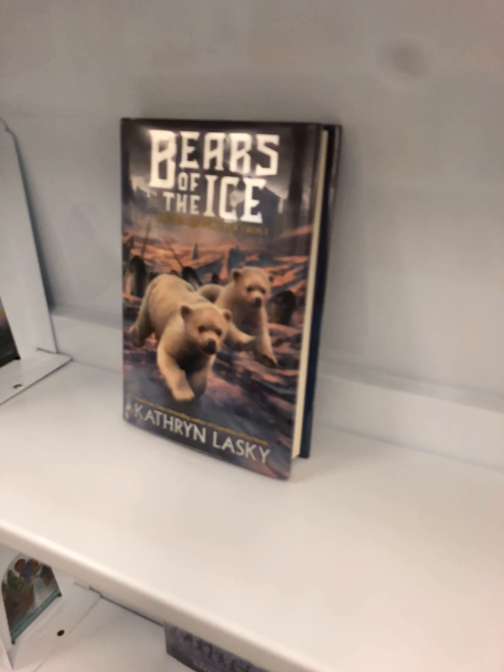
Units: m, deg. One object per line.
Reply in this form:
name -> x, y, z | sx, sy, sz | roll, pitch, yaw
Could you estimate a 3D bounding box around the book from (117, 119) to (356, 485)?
book -> -0.020, -0.029, 0.372 | 0.150, 0.216, 0.043 | 13, 19, 29
